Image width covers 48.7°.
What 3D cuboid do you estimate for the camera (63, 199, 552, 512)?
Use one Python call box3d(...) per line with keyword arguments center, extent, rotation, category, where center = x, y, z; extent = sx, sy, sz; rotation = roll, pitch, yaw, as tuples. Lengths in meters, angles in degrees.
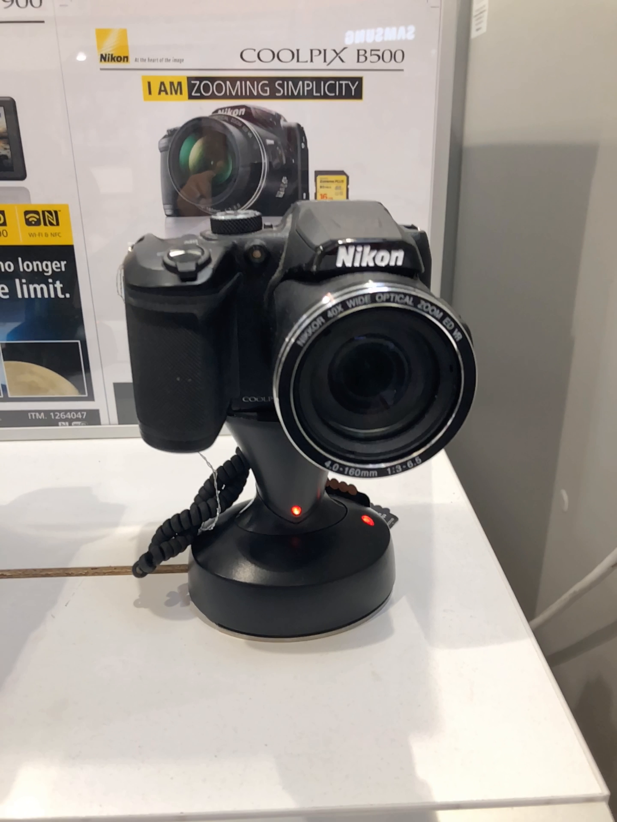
box3d(center=(-0.003, -0.027, 0.226), extent=(0.120, 0.070, 0.101), rotation=(-3, 23, -5), category="camera")
